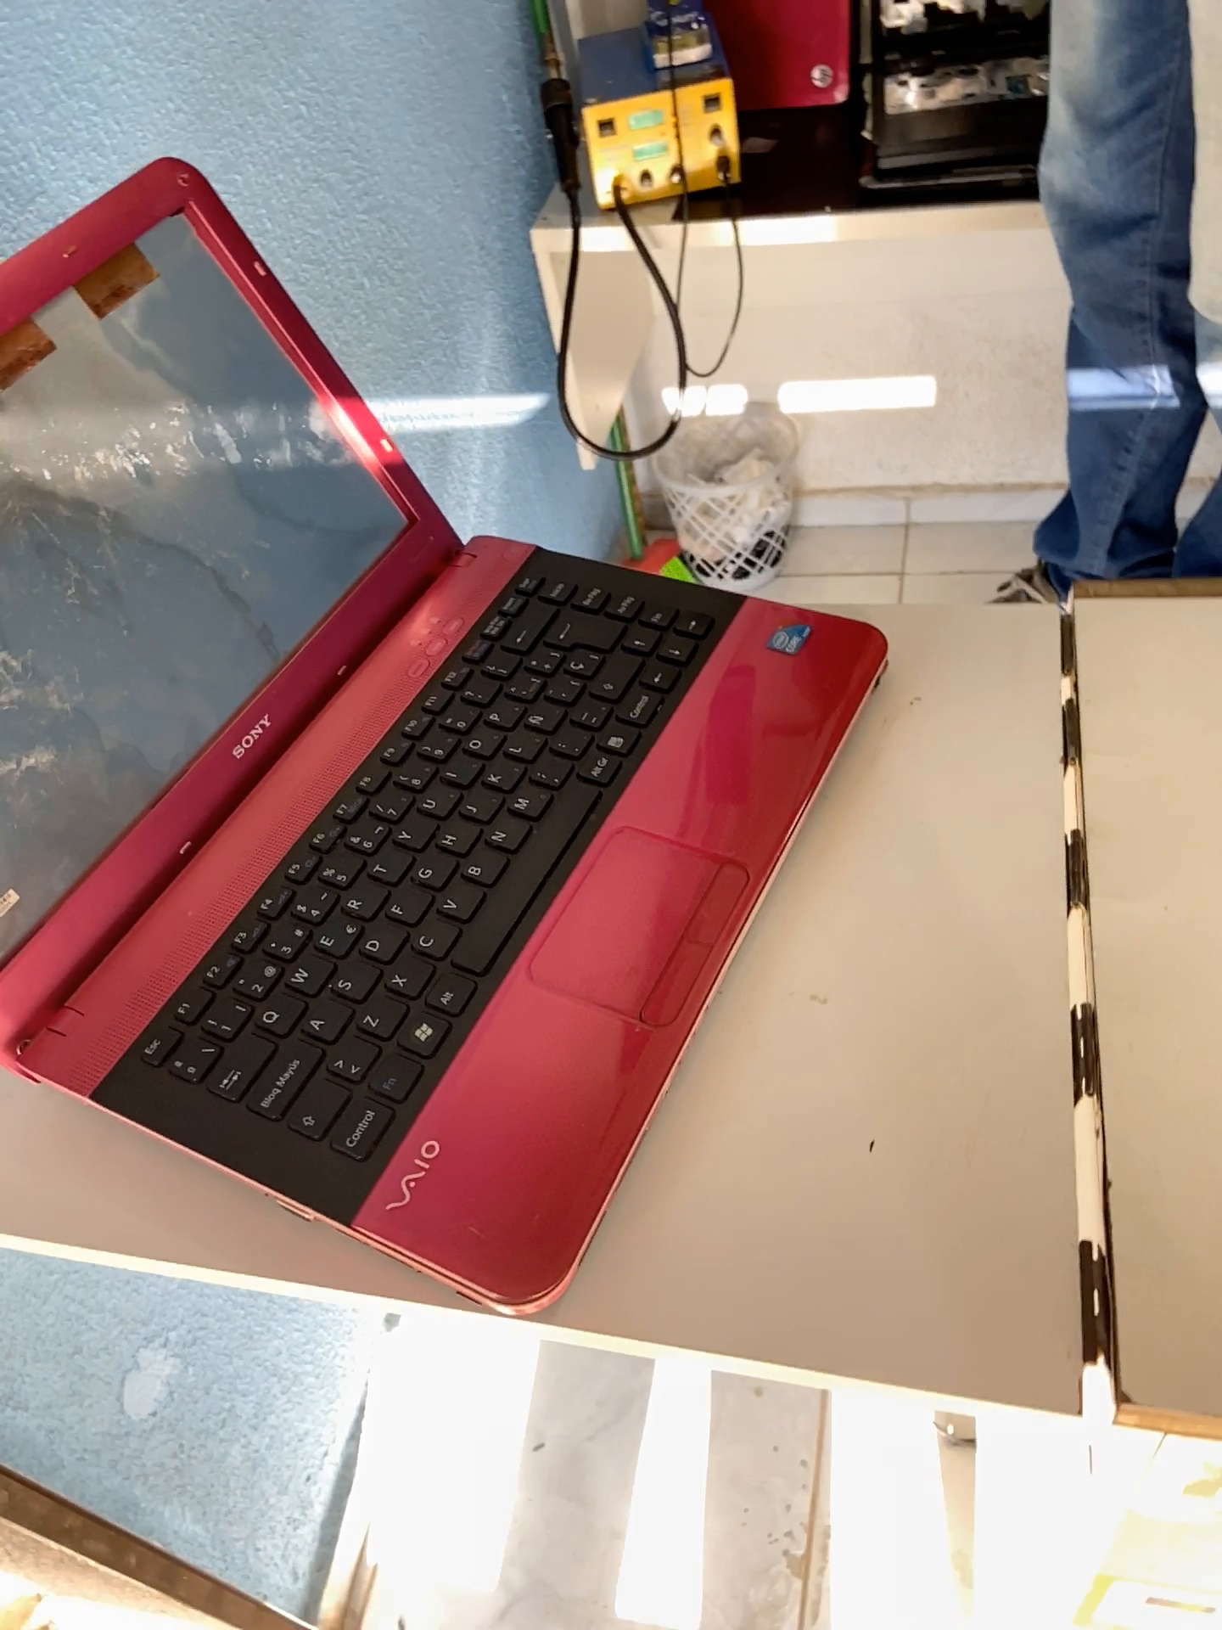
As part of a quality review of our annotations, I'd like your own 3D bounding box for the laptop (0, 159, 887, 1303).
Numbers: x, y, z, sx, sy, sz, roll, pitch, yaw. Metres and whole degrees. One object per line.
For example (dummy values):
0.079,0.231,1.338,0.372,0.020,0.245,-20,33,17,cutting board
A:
-0.117,-0.072,0.486,0.340,0.188,0.331,17,55,24,laptop
